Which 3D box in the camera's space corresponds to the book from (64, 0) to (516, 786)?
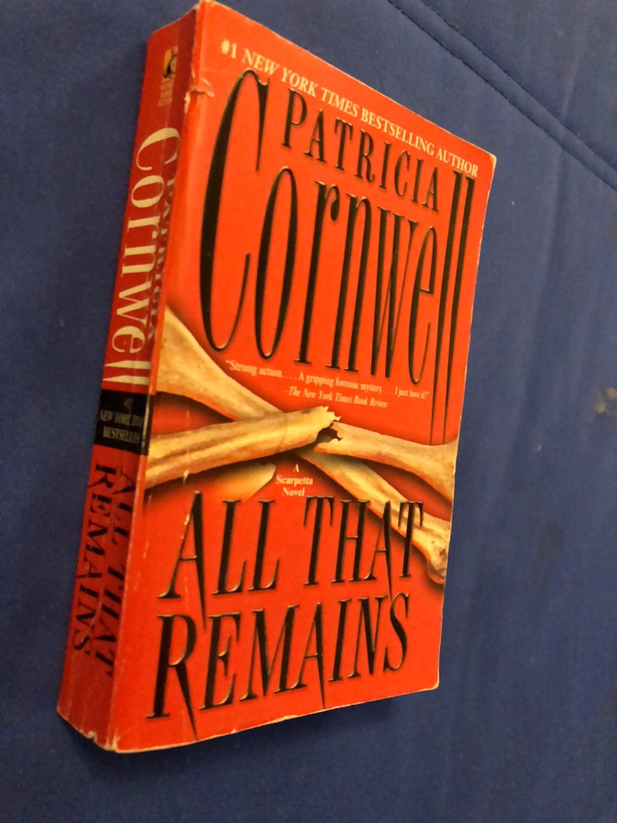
[{"bbox_3d":[0.003,-0.002,0.187,0.110,0.030,0.166,7,89,-41],"label":"book"}]
